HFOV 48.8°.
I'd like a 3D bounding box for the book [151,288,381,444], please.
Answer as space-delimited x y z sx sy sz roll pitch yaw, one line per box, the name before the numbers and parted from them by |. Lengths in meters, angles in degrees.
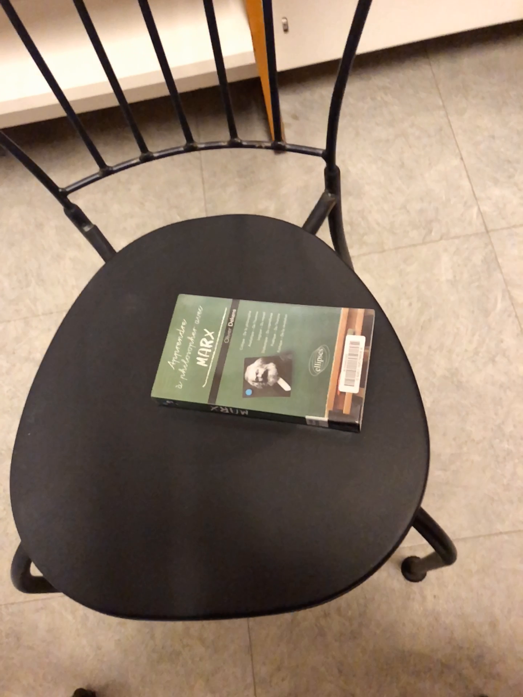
book | 0.006 0.011 0.493 0.177 0.024 0.110 7 68 12
